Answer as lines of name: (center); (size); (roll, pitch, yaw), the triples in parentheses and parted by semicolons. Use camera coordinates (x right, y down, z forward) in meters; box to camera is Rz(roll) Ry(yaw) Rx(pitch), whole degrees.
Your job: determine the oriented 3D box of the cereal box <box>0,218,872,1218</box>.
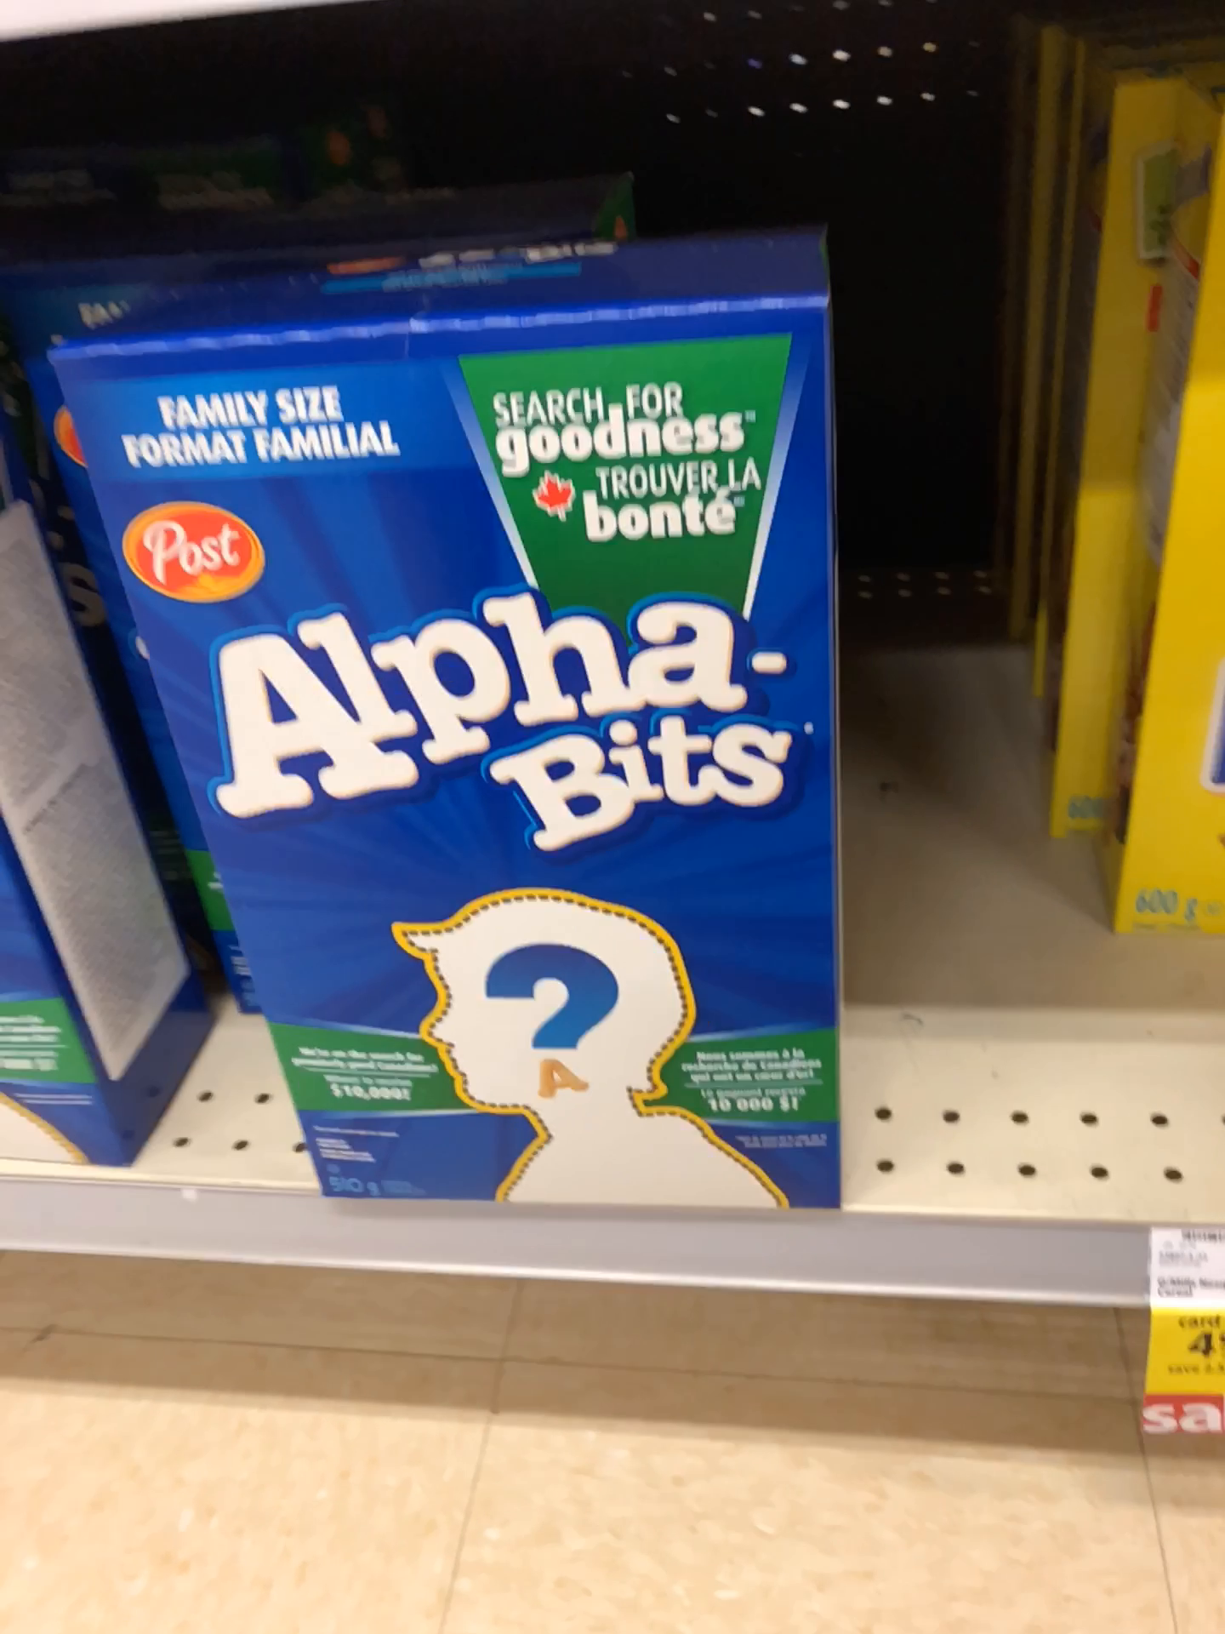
cereal box: (-0.029, -0.010, 0.421); (0.210, 0.298, 0.081); (-1, 34, 9)
